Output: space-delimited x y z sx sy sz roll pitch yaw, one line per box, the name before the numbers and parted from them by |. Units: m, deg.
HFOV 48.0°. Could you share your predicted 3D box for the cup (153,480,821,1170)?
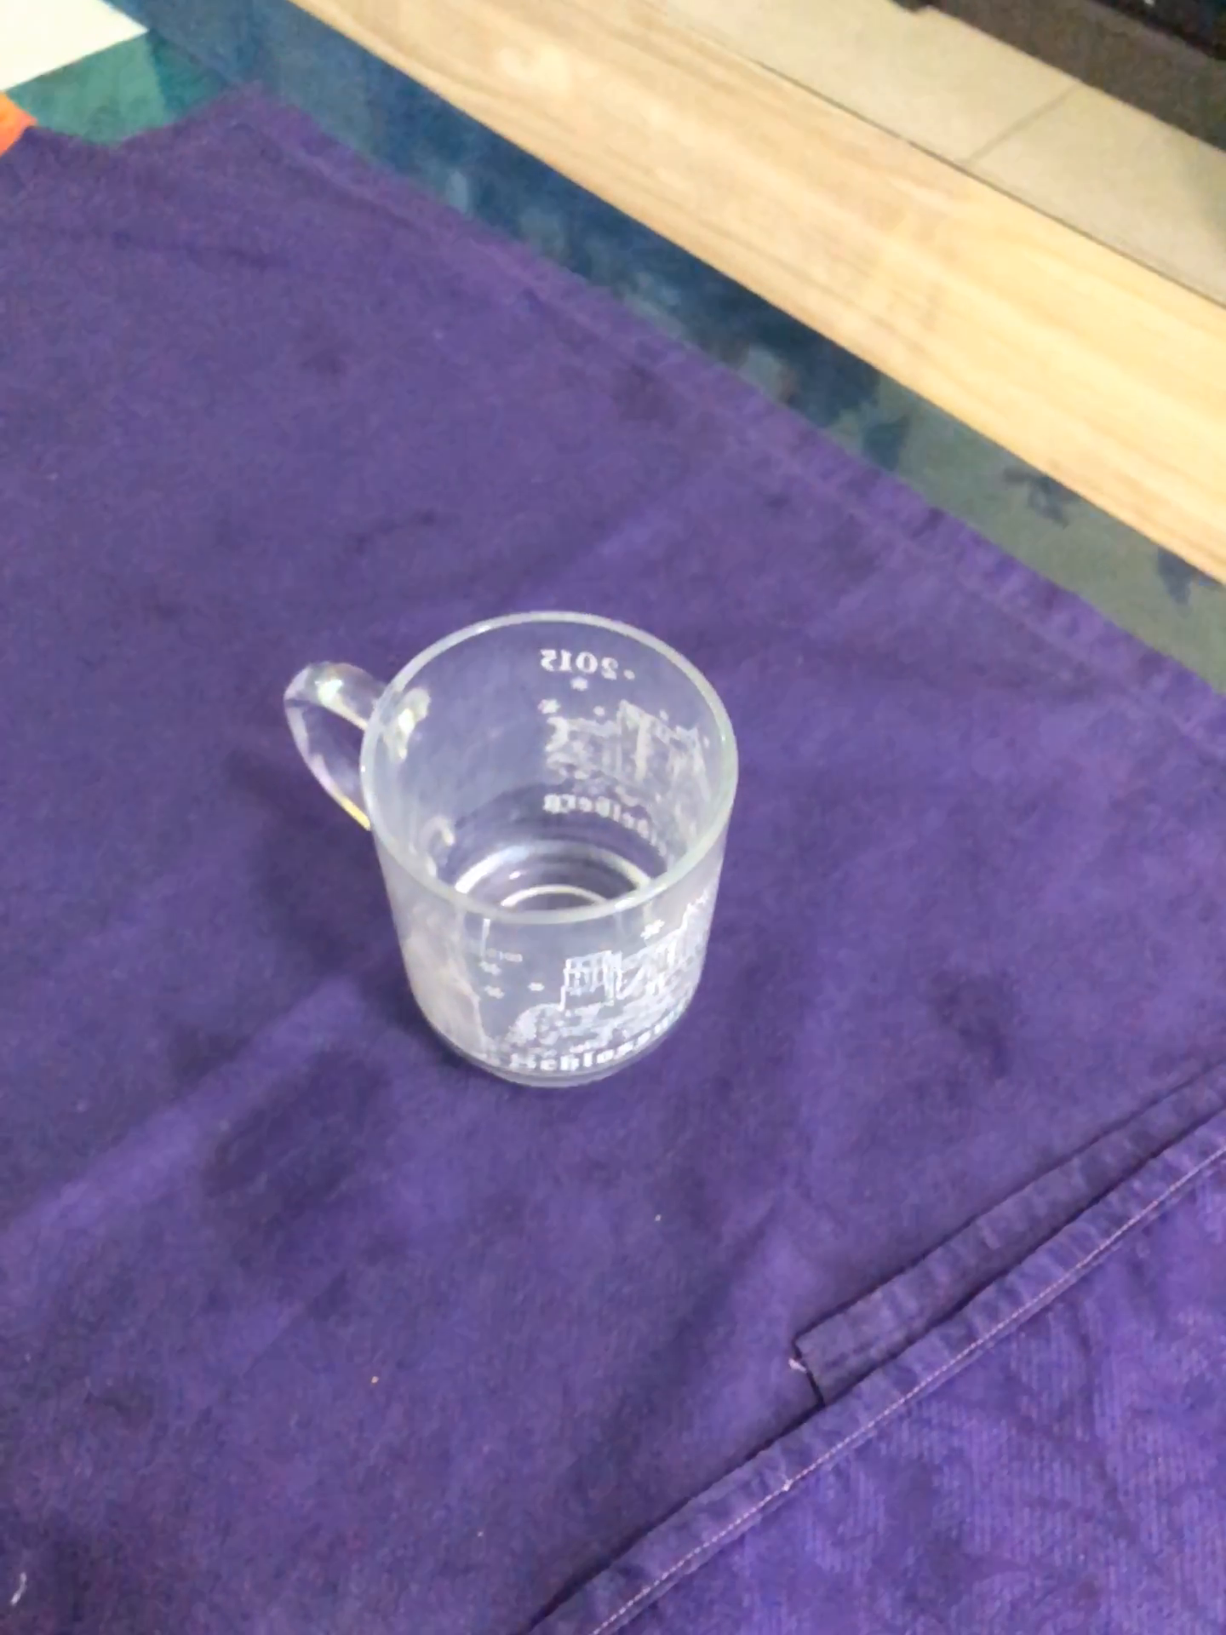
cup | -0.025 0.002 0.284 0.100 0.080 0.070 34 61 19
